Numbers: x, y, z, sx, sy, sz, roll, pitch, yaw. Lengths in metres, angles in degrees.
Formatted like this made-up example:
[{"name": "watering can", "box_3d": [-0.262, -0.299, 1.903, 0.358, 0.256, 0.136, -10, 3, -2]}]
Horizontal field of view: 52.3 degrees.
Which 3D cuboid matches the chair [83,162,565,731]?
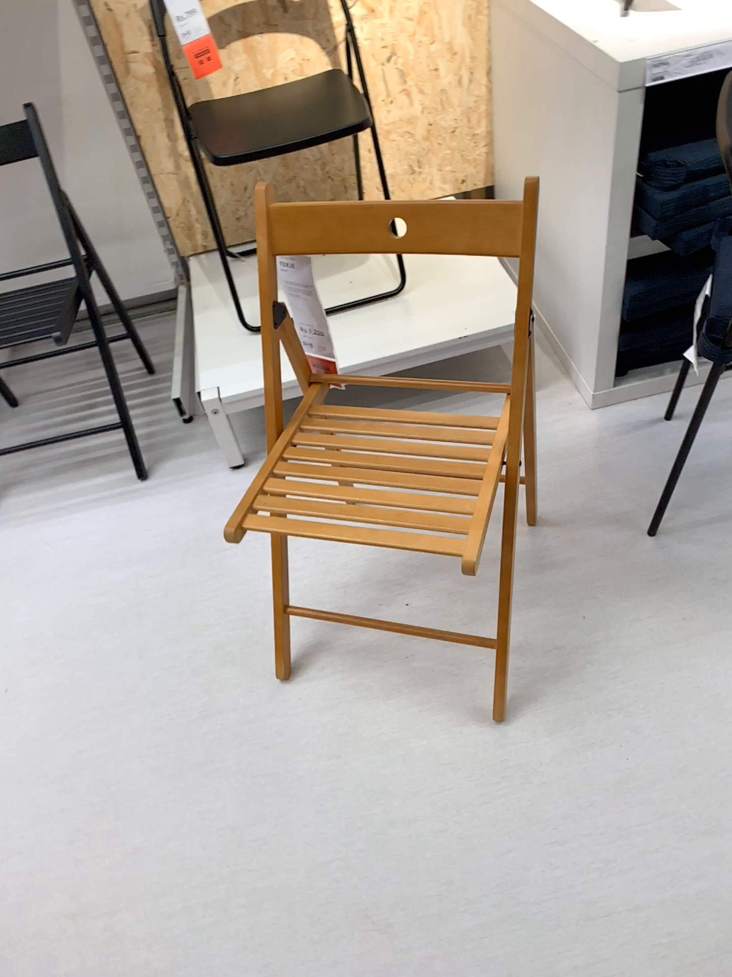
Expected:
[{"name": "chair", "box_3d": [0.030, -0.065, 1.246, 0.510, 0.697, 0.562, 5, 47, 17]}]
